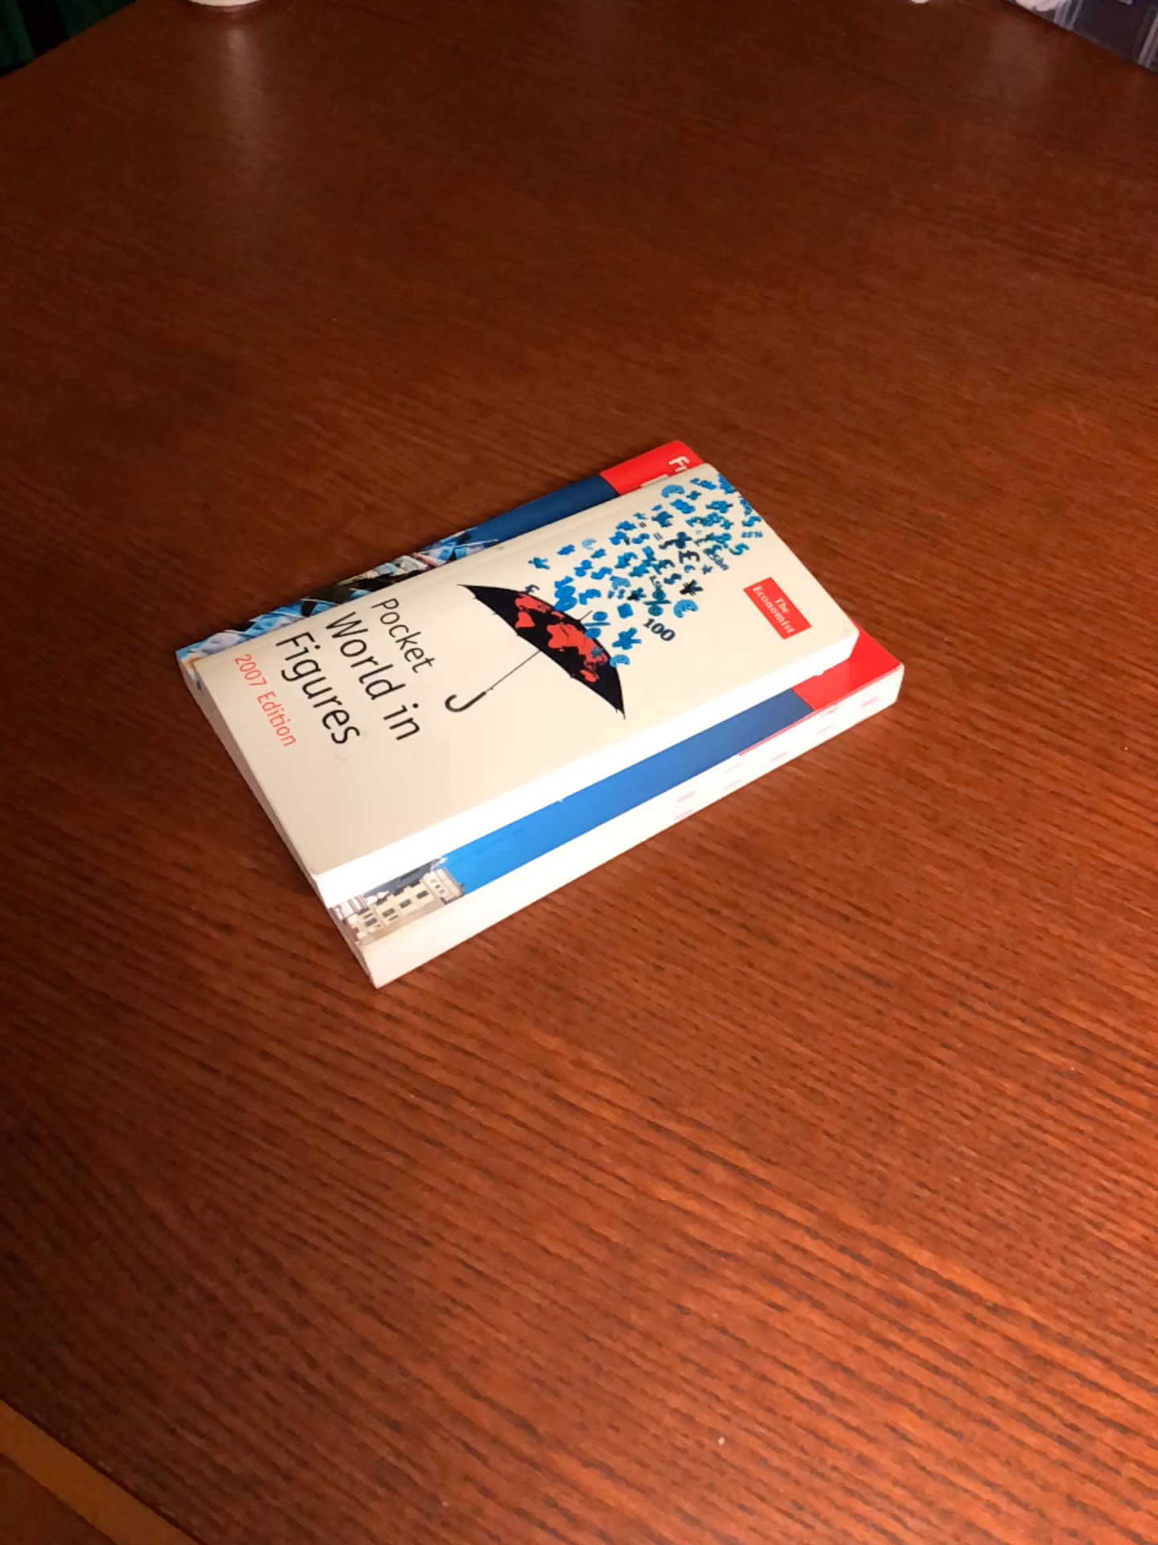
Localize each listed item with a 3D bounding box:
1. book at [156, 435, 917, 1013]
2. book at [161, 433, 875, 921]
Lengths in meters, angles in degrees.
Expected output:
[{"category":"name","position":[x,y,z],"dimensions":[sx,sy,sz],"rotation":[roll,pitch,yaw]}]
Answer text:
[{"category":"book","position":[-0.013,-0.030,0.431],"dimensions":[0.210,0.020,0.140],"rotation":[-27,61,-20]},{"category":"book","position":[-0.017,-0.040,0.407],"dimensions":[0.200,0.020,0.100],"rotation":[-25,61,-19]}]
